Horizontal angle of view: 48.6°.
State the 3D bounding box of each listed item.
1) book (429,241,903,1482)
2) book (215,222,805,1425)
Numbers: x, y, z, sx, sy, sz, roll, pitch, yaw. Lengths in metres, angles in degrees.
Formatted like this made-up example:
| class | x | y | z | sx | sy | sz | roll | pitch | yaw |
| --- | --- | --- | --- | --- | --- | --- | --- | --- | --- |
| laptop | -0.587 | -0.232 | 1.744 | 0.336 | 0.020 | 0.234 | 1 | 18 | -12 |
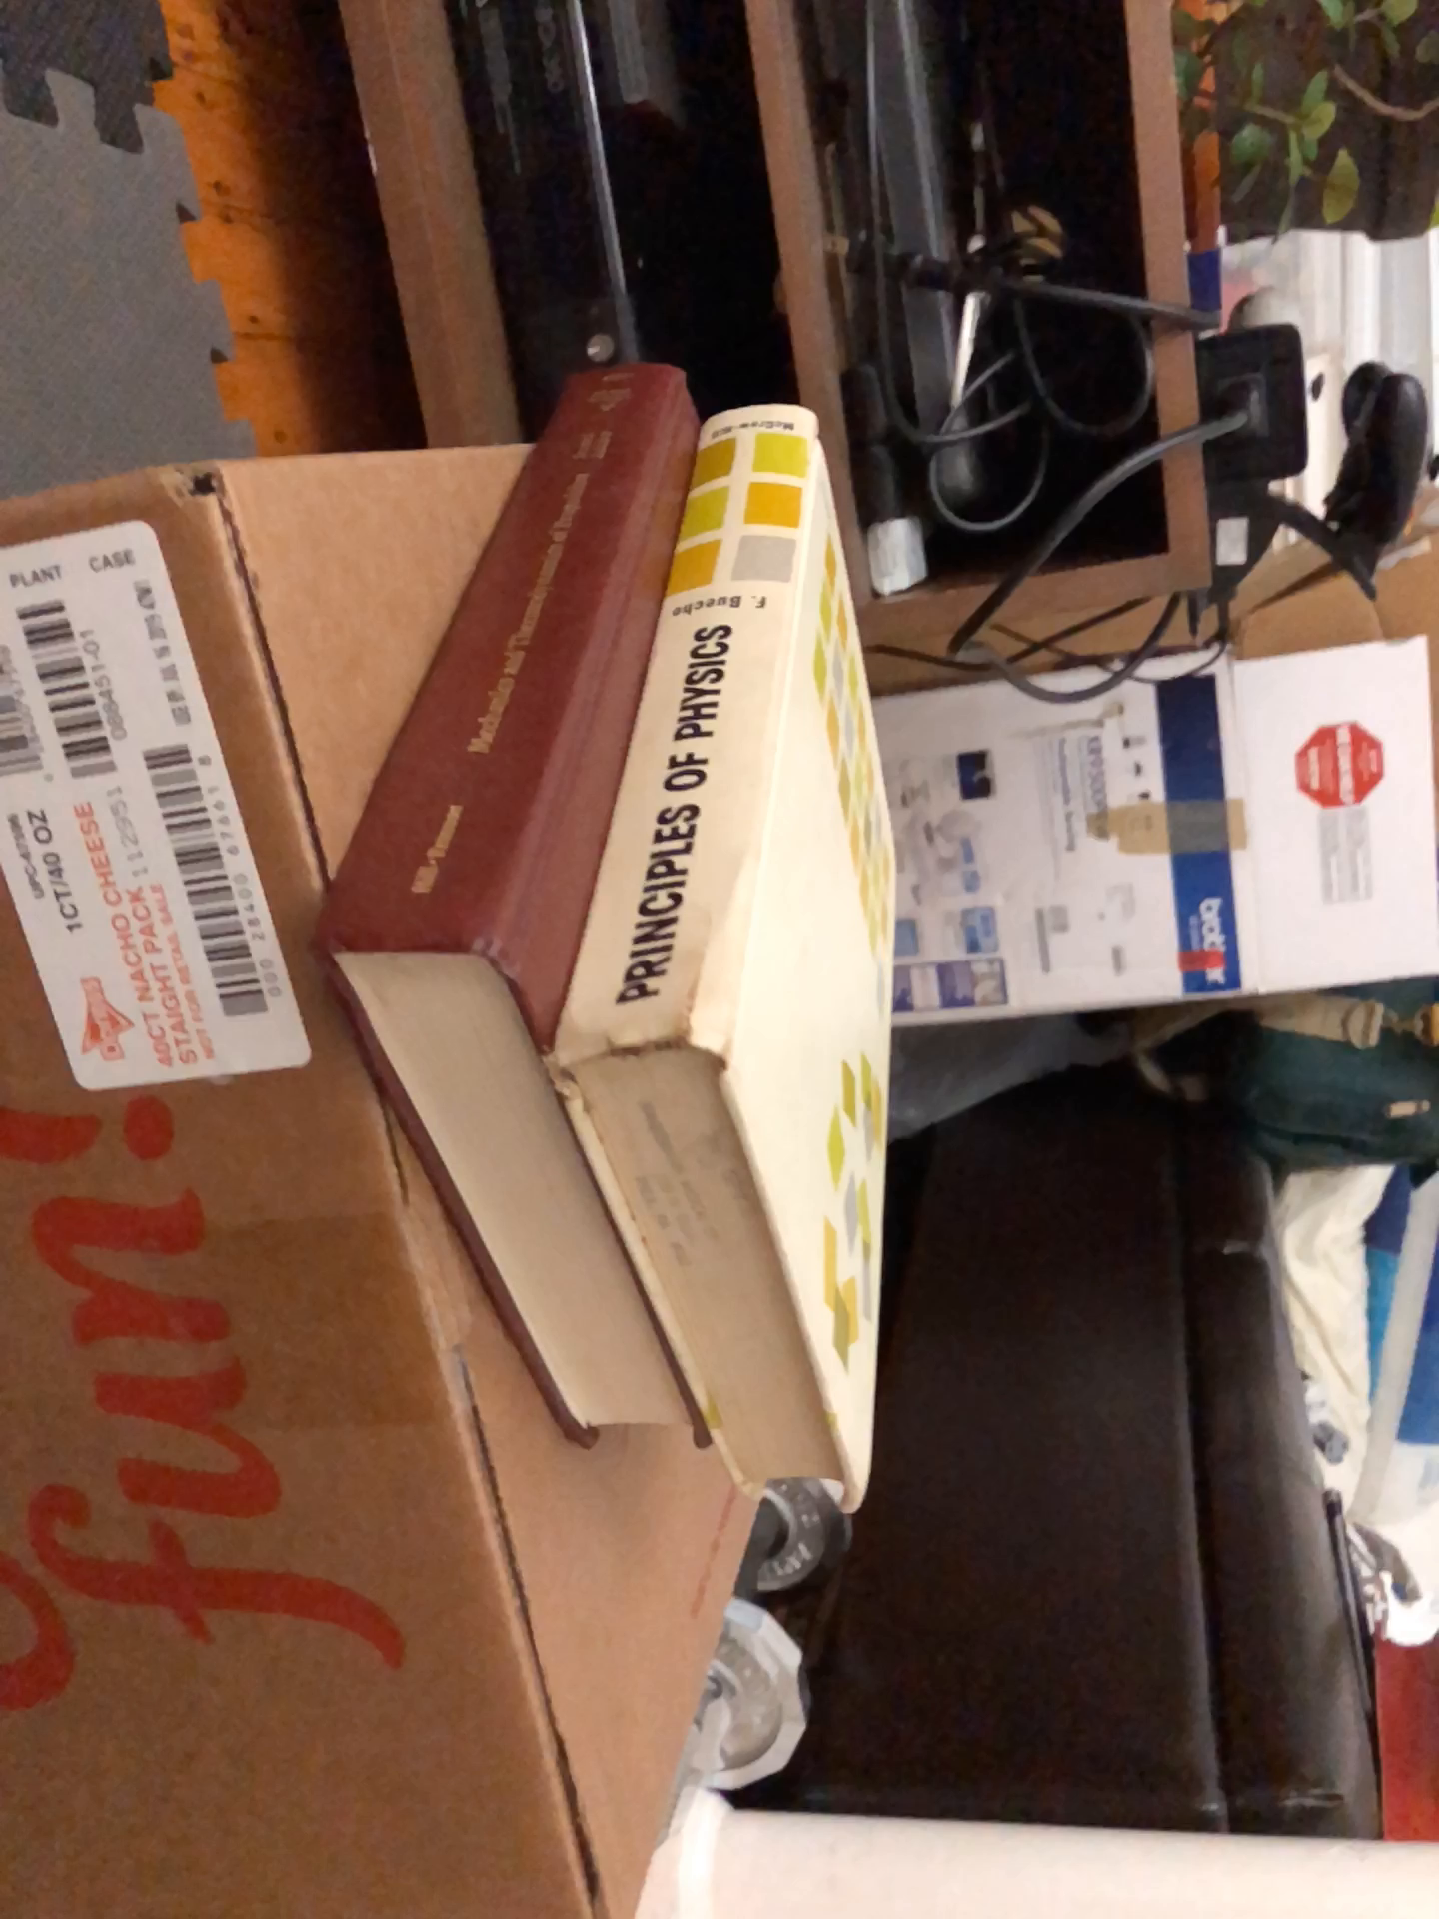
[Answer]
| class | x | y | z | sx | sy | sz | roll | pitch | yaw |
| --- | --- | --- | --- | --- | --- | --- | --- | --- | --- |
| book | 0.008 | -0.033 | 0.390 | 0.251 | 0.040 | 0.180 | -83 | 160 | -45 |
| book | -0.025 | -0.046 | 0.395 | 0.251 | 0.040 | 0.180 | -81 | 159 | -48 |
